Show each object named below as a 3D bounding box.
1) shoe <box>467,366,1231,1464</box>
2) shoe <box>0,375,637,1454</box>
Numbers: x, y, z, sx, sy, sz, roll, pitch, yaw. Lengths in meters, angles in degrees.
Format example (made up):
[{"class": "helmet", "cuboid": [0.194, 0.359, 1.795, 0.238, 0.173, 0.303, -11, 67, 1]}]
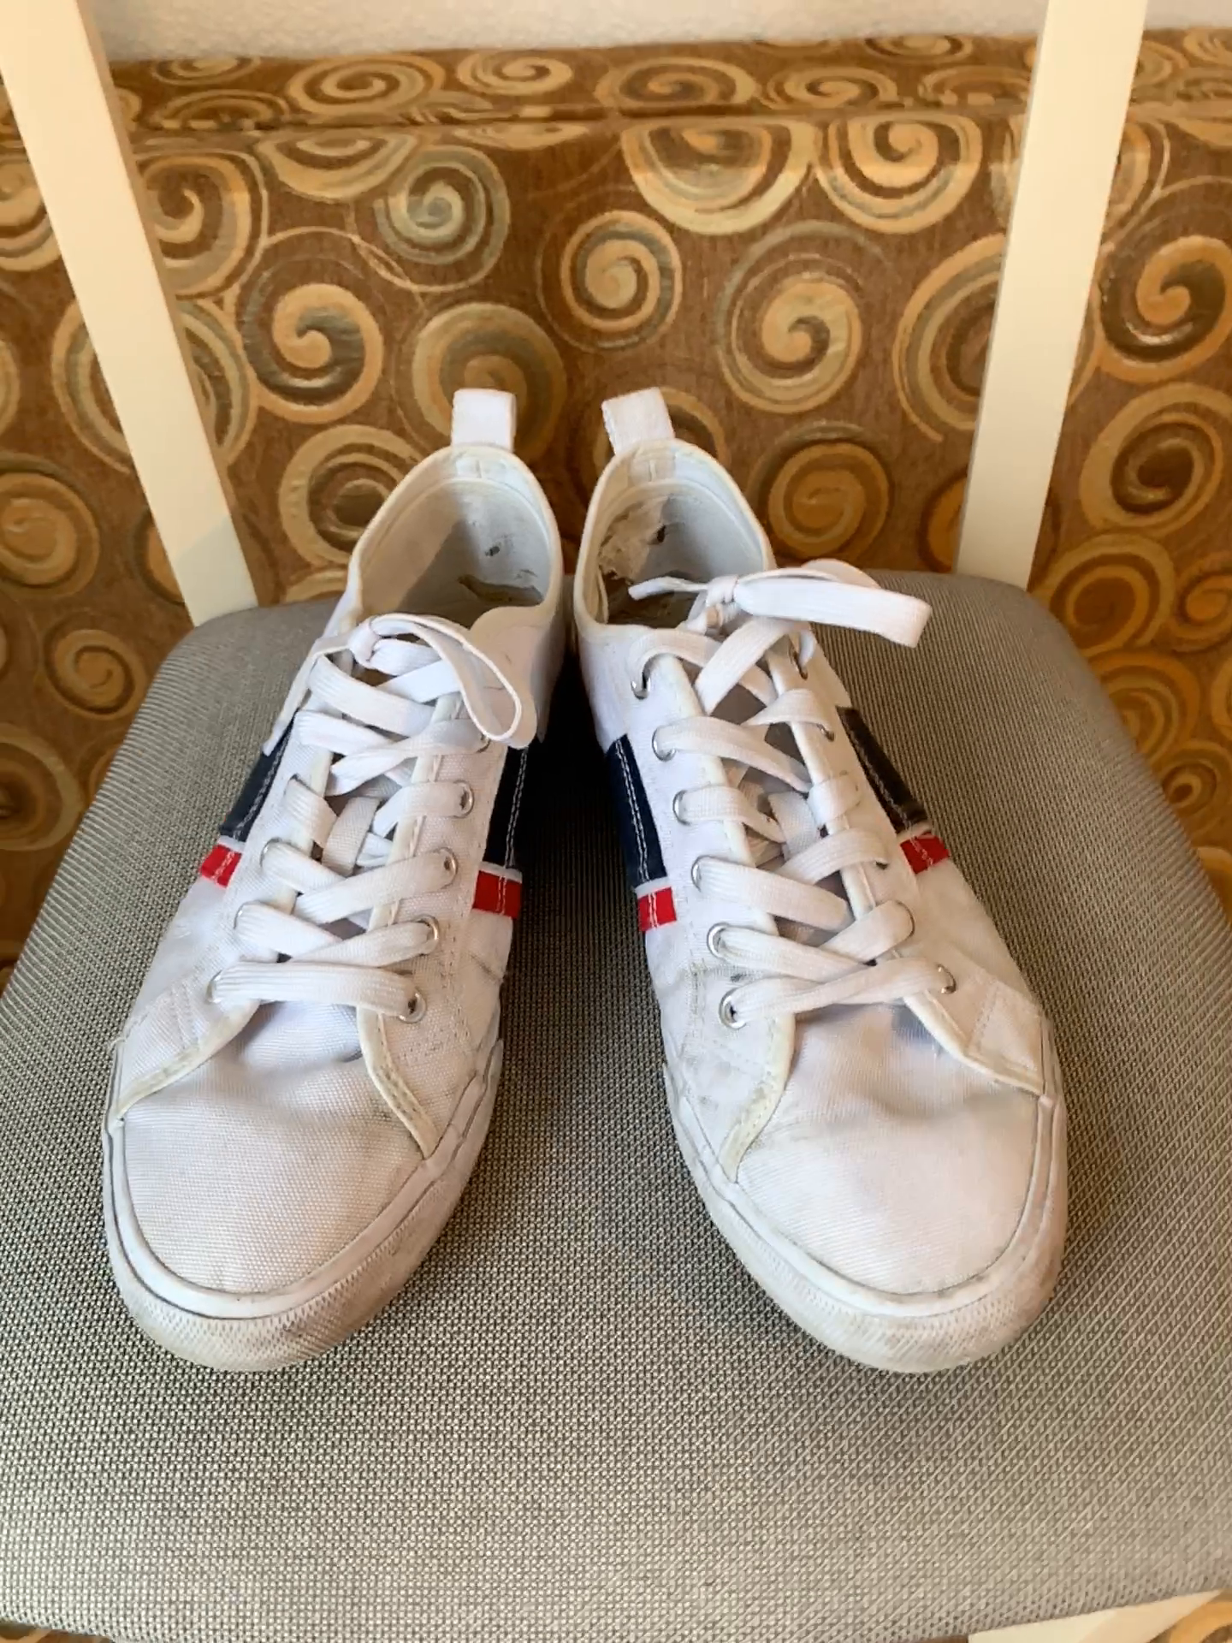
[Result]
[{"class": "shoe", "cuboid": [0.046, 0.003, 0.341, 0.110, 0.090, 0.271, -14, 54, -8]}, {"class": "shoe", "cuboid": [-0.079, 0.003, 0.353, 0.120, 0.090, 0.281, 8, 54, 8]}]
